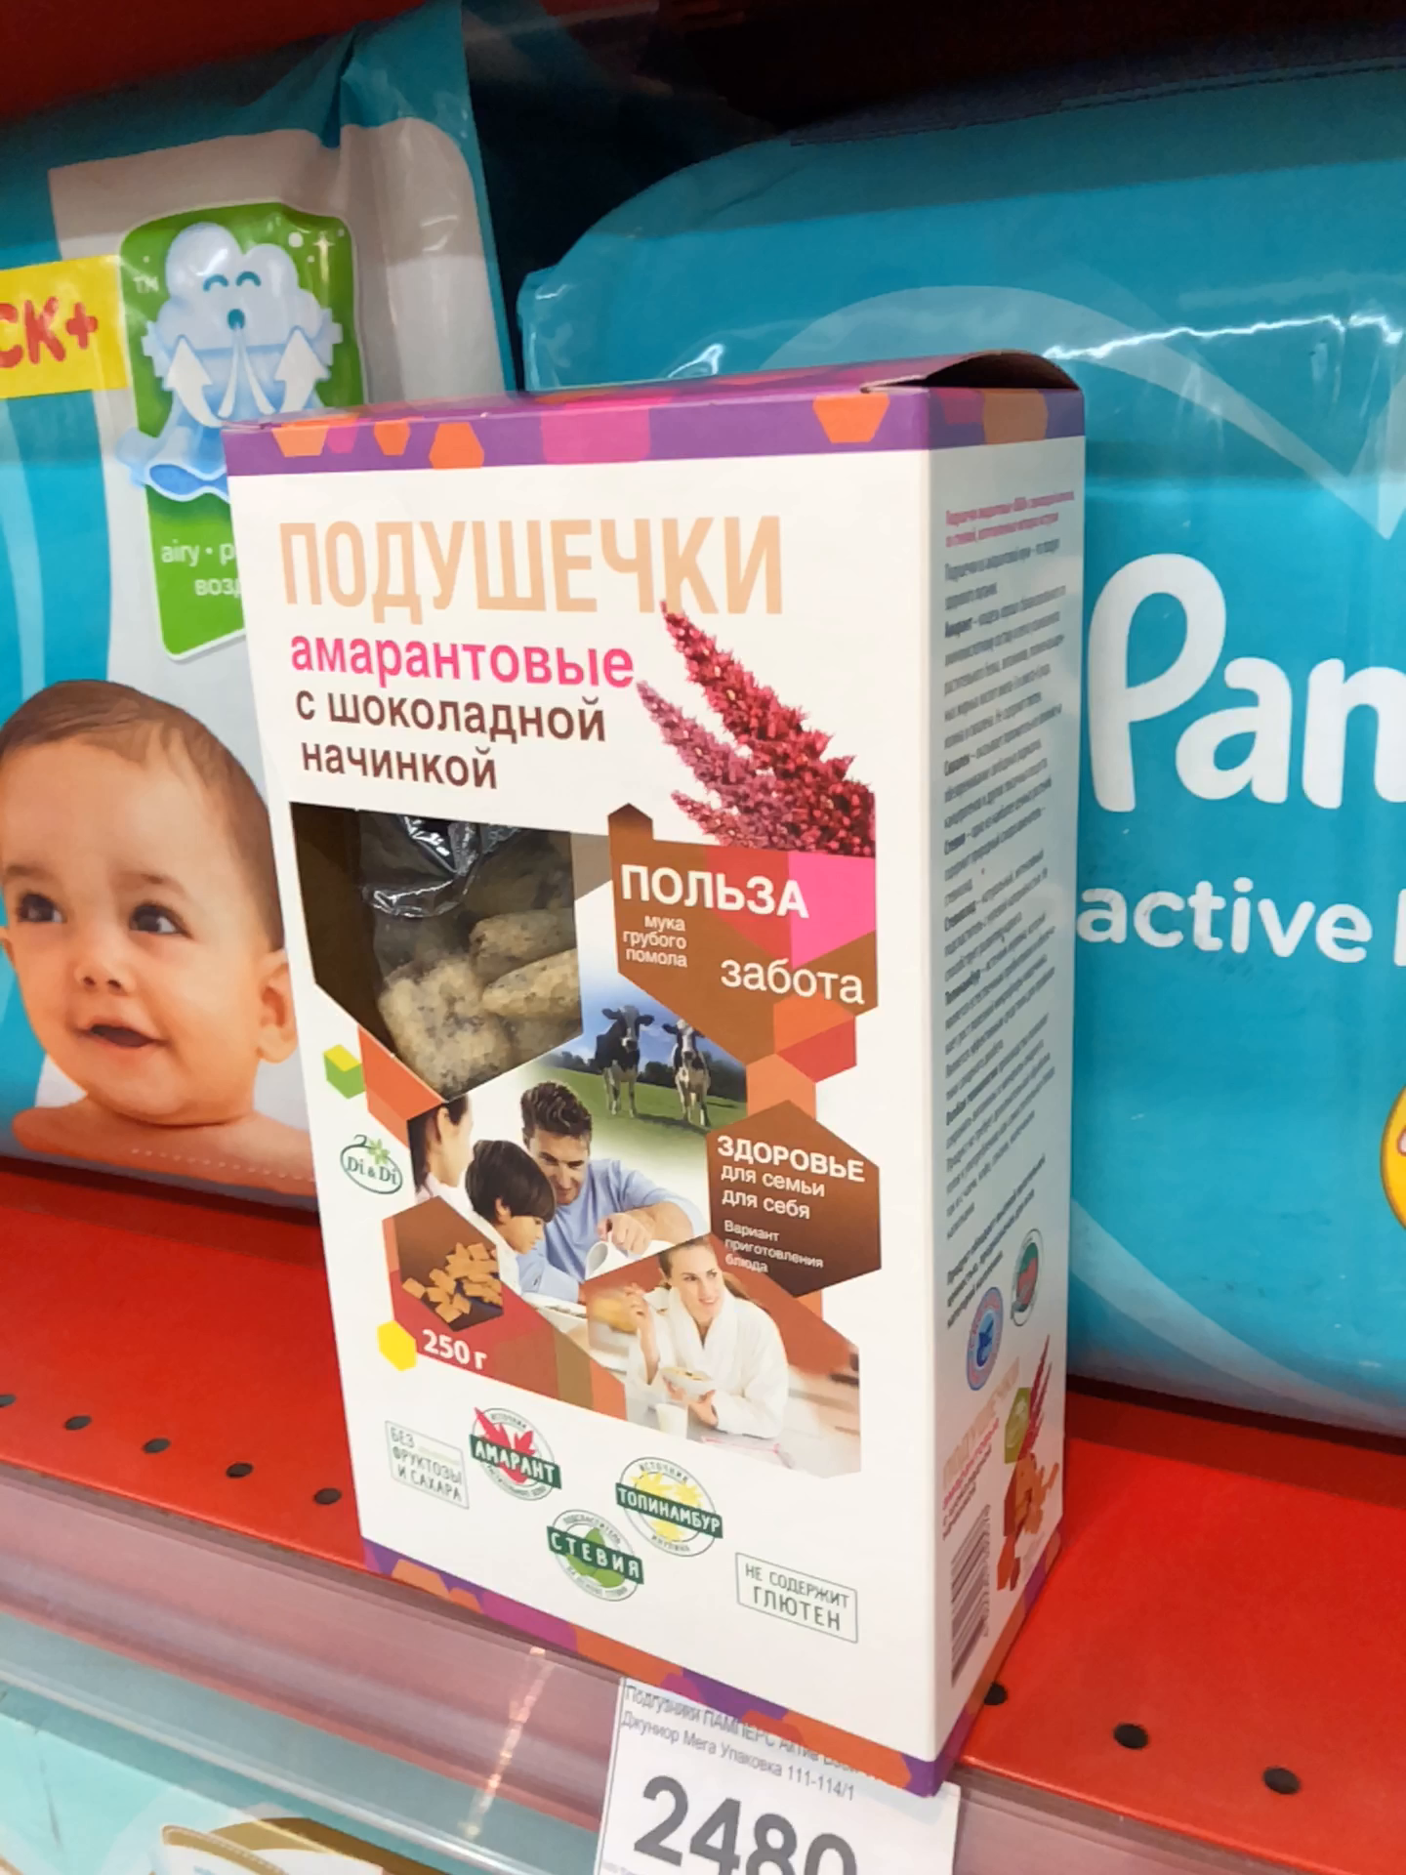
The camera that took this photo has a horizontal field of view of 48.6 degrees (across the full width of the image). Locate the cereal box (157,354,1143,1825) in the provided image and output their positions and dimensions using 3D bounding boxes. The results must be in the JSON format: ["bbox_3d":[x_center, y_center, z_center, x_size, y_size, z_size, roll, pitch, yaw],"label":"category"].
[{"bbox_3d":[-0.005,0.018,0.278,0.140,0.219,0.070,7,20,30],"label":"cereal box"}]
